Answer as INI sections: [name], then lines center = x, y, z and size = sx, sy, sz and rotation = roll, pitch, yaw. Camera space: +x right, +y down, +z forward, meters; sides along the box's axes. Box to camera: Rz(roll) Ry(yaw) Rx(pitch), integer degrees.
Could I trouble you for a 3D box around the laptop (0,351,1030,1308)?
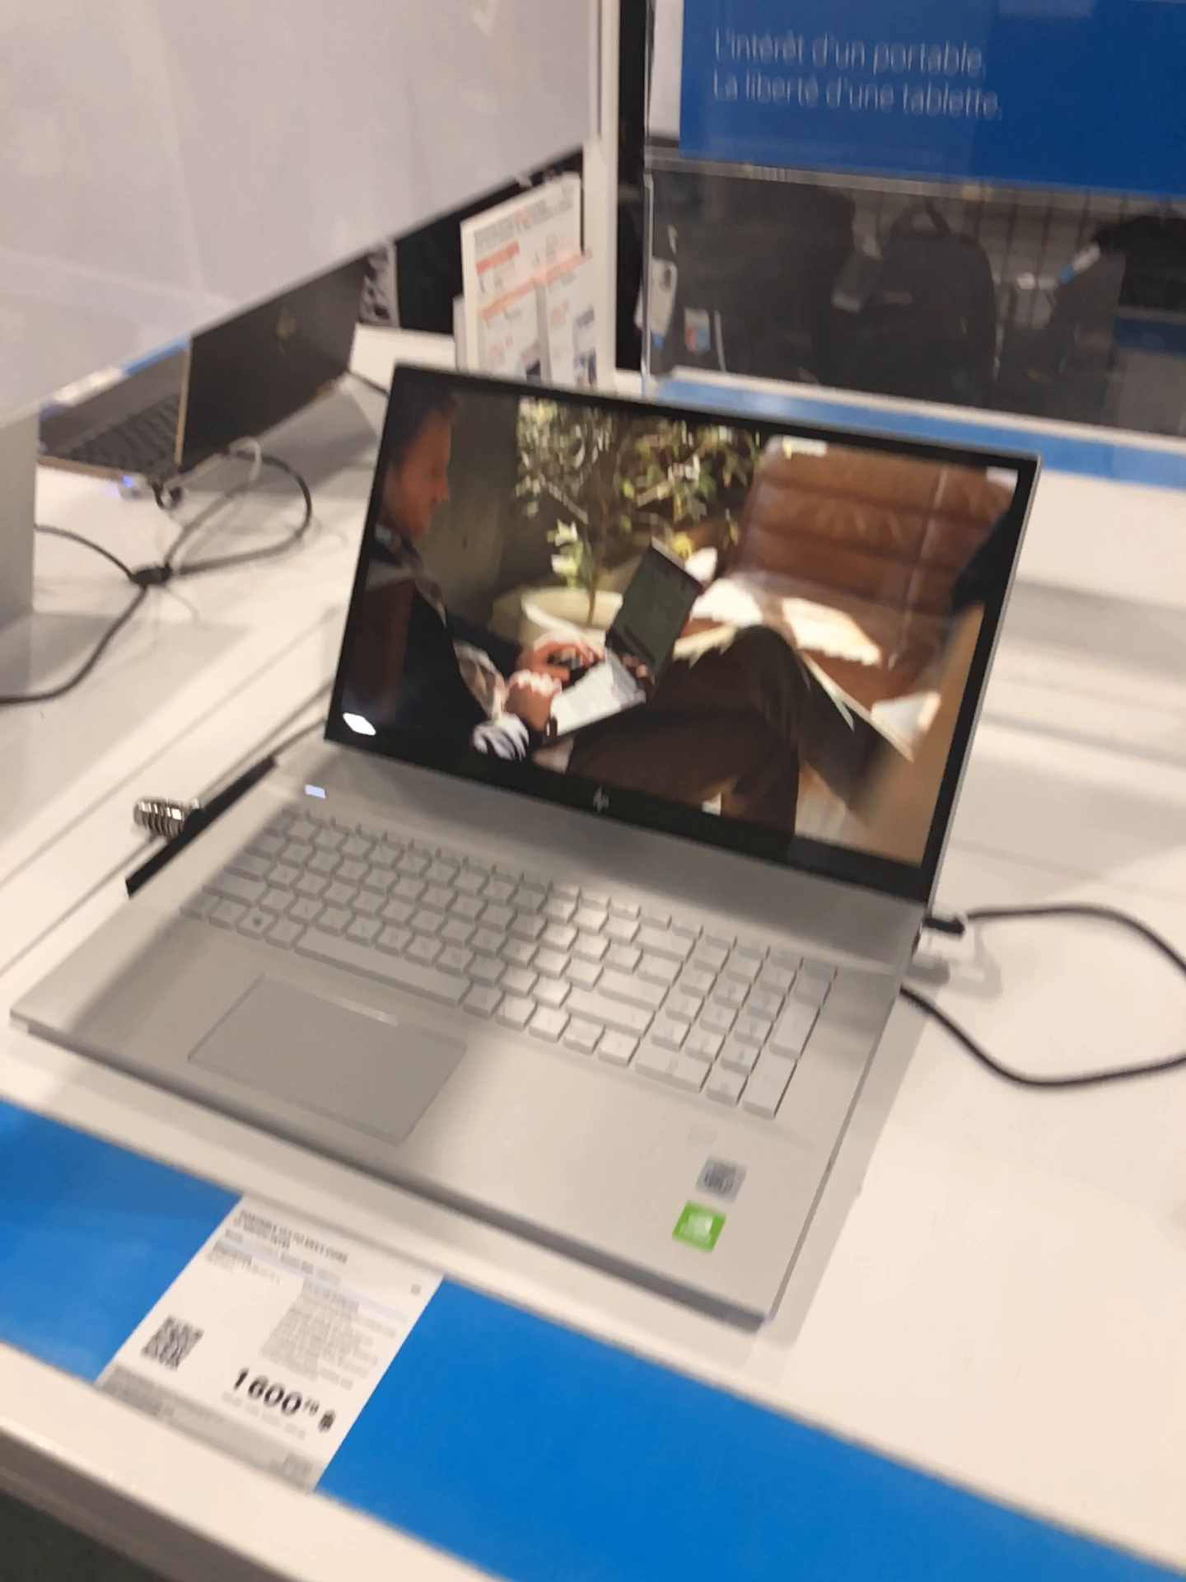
[laptop]
center = -0.029, -0.037, 0.669
size = 0.391, 0.199, 0.398
rotation = 15, 39, 20
